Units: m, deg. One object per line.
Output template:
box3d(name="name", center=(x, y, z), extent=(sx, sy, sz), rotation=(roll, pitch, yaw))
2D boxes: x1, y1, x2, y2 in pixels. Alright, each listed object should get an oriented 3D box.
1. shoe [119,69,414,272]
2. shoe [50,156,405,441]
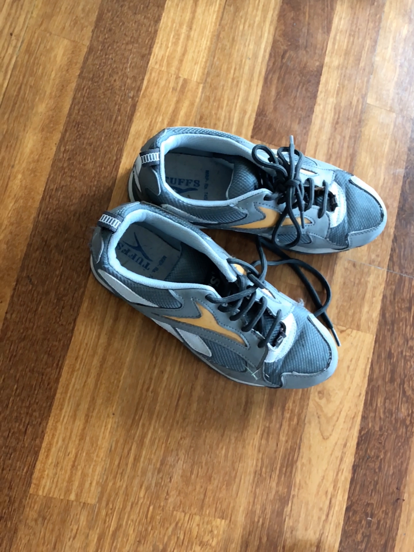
box3d(name="shoe", center=(0.065, -0.090, 0.451), extent=(0.283, 0.099, 0.112), rotation=(10, 79, -10))
box3d(name="shoe", center=(0.019, 0.026, 0.417), extent=(0.283, 0.088, 0.110), rotation=(30, 76, -7))
